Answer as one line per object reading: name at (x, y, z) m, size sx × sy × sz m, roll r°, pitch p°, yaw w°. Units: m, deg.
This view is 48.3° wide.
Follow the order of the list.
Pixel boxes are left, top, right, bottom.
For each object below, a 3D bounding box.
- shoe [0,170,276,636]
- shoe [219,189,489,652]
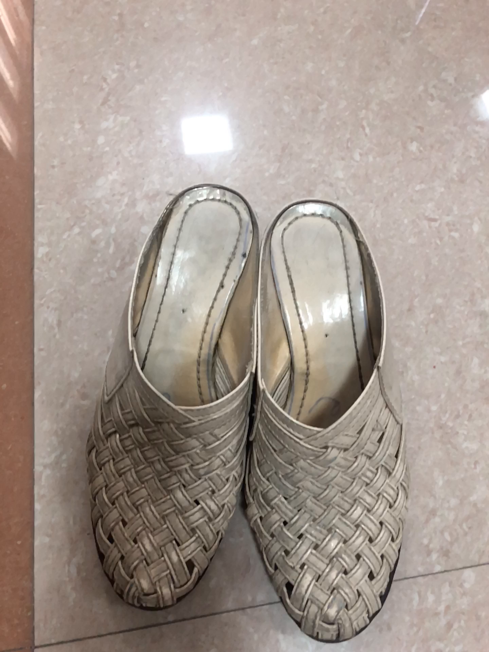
shoe at (-0.046, 0.034, 0.306) m, size 0.100 × 0.085 × 0.225 m, roll 7°, pitch 65°, yaw 3°
shoe at (0.042, 0.044, 0.297) m, size 0.100 × 0.085 × 0.222 m, roll -3°, pitch 65°, yaw -1°
